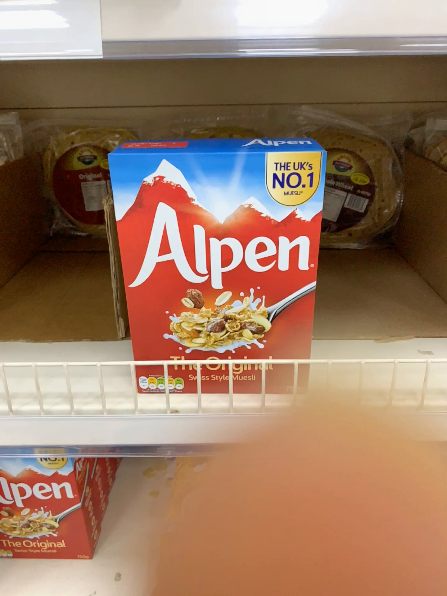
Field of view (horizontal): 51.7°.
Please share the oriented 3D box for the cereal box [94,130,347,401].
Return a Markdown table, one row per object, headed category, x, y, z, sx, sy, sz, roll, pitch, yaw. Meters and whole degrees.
| category | x | y | z | sx | sy | sz | roll | pitch | yaw |
| --- | --- | --- | --- | --- | --- | --- | --- | --- | --- |
| cereal box | 0.000 | -0.025 | 0.429 | 0.190 | 0.238 | 0.071 | -1 | 24 | 0 |
